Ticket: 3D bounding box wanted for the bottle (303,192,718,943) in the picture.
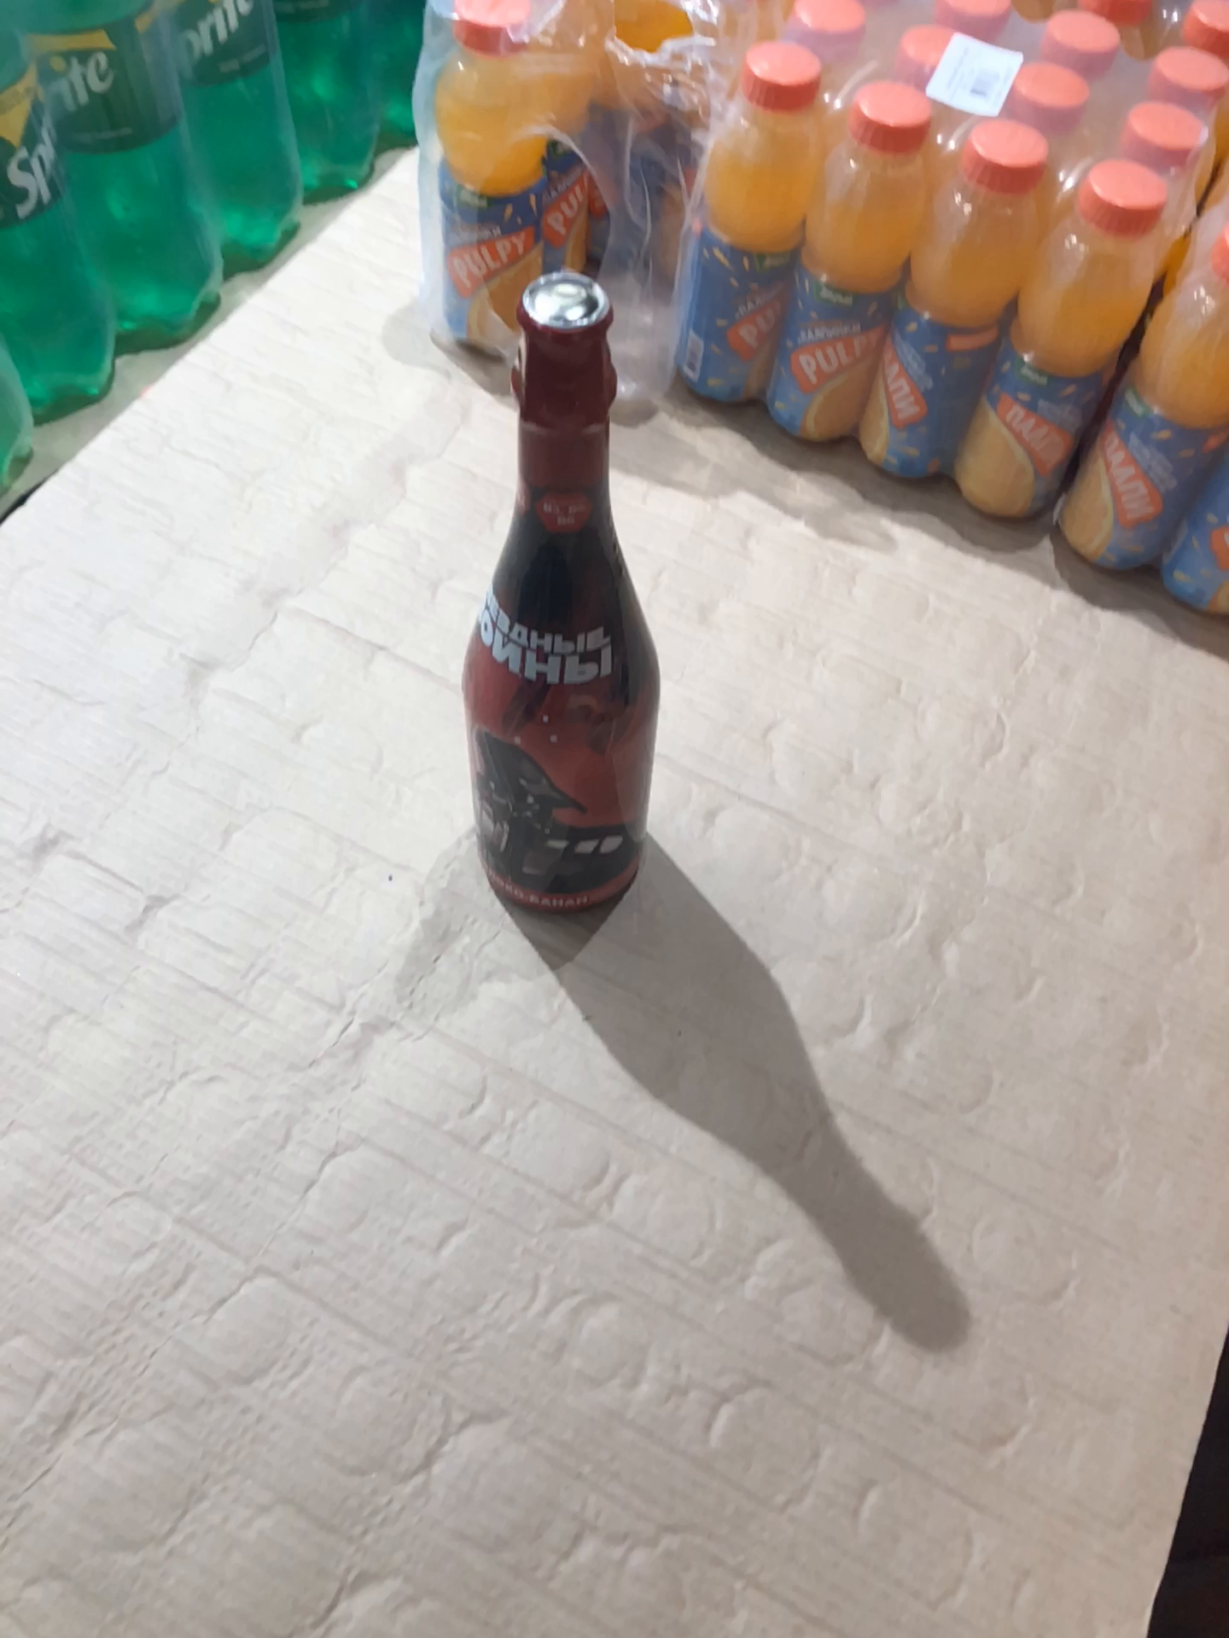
[{"bbox_3d":[-0.035,-0.068,0.500,0.086,0.279,0.085,2,58,-3],"label":"bottle"}]
